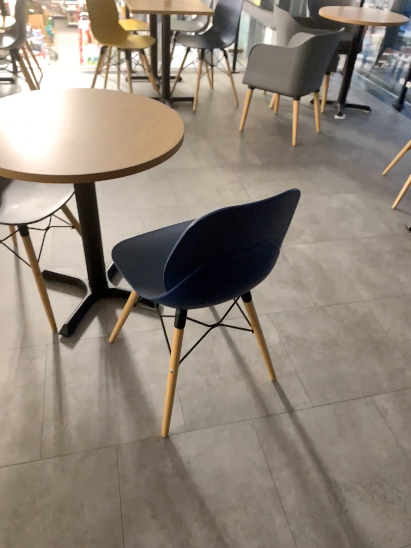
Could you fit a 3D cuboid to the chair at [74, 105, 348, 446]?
[{"bbox_3d":[-0.028,0.001,1.304,0.491,0.808,0.500,-19,45,-26],"label":"chair"}]
